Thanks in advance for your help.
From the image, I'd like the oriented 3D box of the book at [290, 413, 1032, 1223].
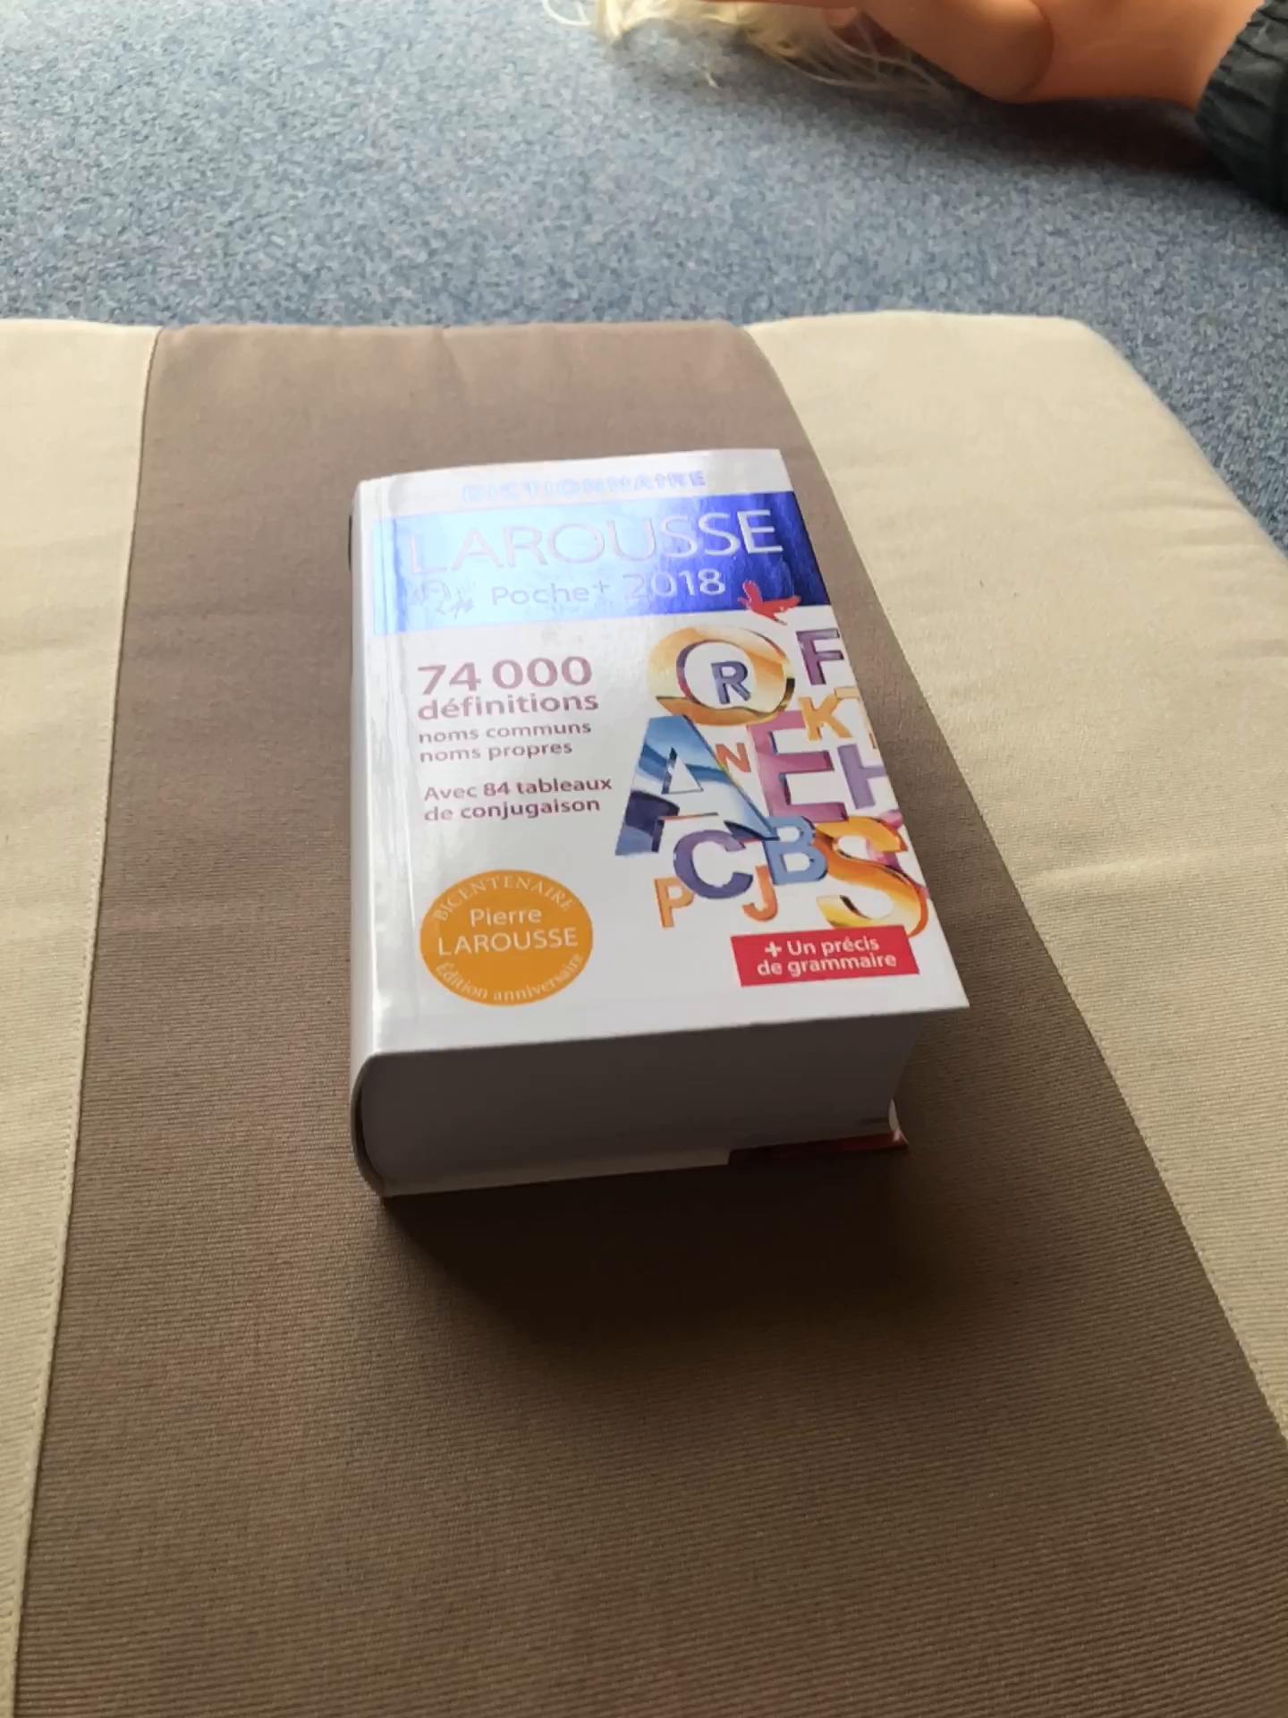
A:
[{"bbox_3d":[-0.010,-0.025,0.335,0.130,0.060,0.201,-3,47,-8],"label":"book"}]
